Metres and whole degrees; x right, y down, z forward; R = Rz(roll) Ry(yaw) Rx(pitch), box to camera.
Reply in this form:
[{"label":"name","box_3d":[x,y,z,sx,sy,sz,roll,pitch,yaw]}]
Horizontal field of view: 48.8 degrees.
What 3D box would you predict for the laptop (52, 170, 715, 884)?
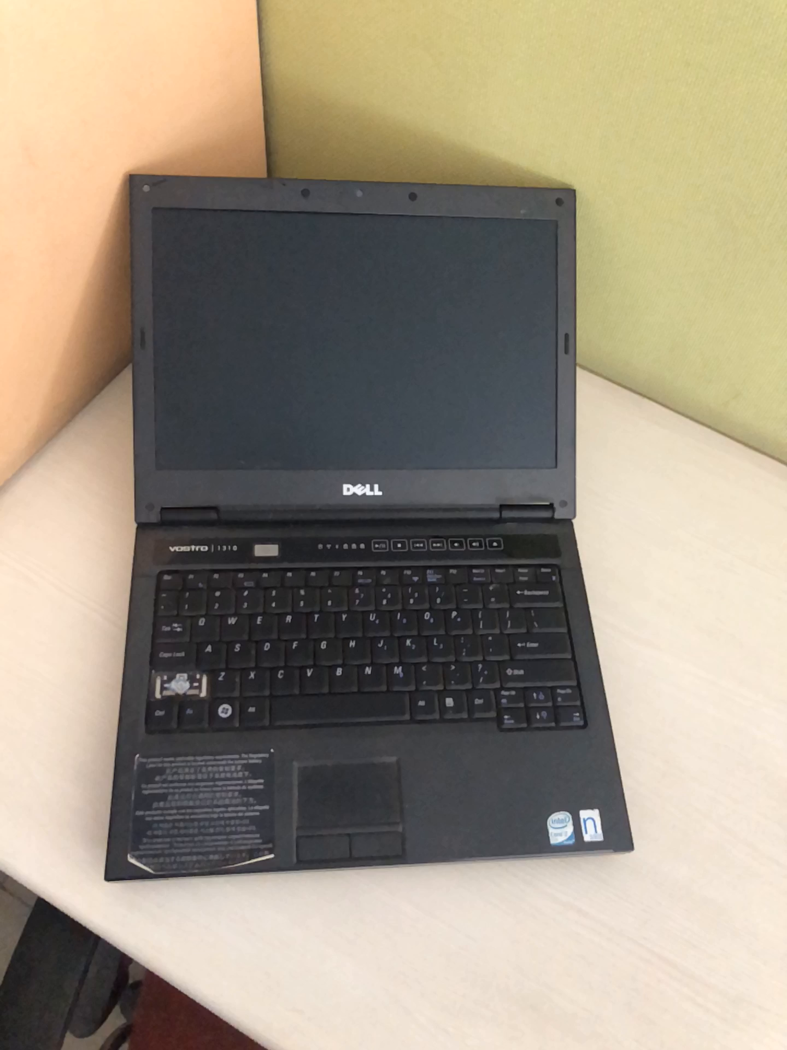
[{"label":"laptop","box_3d":[-0.016,-0.024,0.554,0.305,0.125,0.431,-1,61,-6]}]
